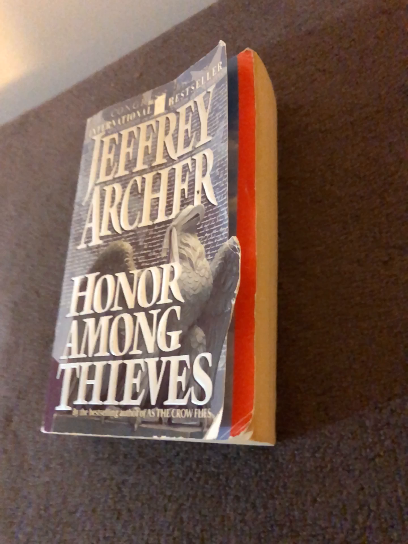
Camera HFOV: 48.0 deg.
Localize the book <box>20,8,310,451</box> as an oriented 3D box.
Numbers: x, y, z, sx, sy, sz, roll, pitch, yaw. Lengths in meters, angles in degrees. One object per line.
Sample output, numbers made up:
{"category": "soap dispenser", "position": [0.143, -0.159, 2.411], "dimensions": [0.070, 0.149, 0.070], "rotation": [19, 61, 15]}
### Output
{"category": "book", "position": [-0.016, -0.018, 0.224], "dimensions": [0.120, 0.040, 0.190], "rotation": [-8, 67, 29]}
